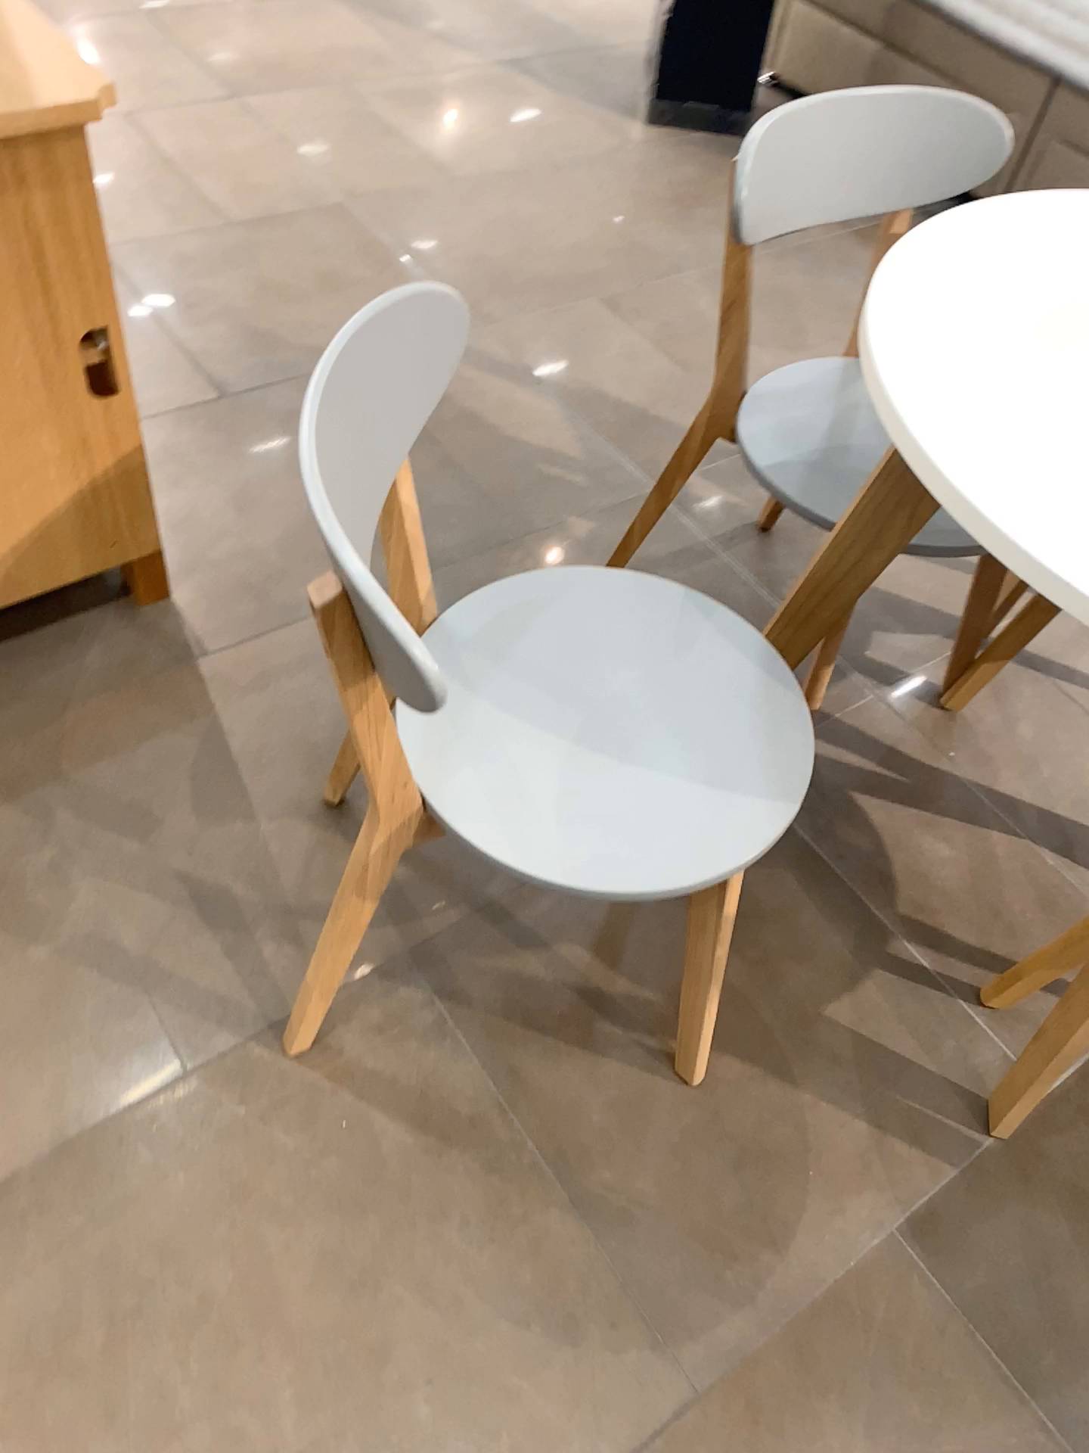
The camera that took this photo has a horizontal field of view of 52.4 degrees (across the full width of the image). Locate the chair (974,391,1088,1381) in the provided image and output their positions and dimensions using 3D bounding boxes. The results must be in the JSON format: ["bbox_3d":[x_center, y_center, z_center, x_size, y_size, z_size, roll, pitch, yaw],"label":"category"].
[{"bbox_3d":[0.993,0.196,1.172,0.521,0.799,0.543,-23,57,-25],"label":"chair"}]

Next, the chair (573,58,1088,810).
[{"bbox_3d":[0.463,-0.407,1.618,0.521,0.799,0.543,-24,58,-26],"label":"chair"}]

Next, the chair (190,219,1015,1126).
[{"bbox_3d":[-0.006,0.010,1.174,0.530,0.799,0.524,4,50,-6],"label":"chair"}]
